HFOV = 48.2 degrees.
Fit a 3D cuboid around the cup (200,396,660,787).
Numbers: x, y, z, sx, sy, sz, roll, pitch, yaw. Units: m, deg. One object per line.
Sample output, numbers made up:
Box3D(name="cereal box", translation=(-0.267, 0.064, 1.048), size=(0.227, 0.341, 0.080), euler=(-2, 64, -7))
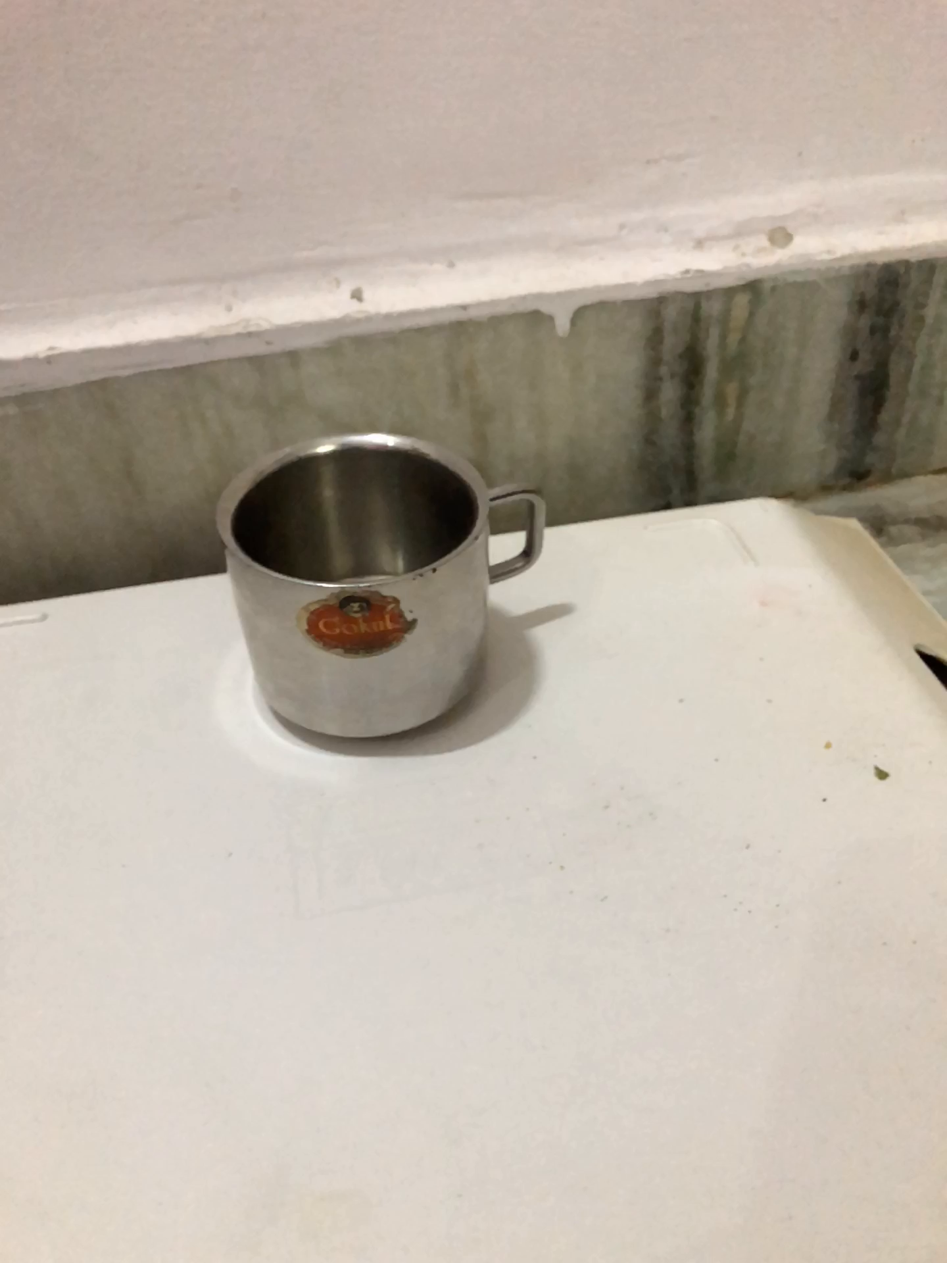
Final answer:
Box3D(name="cup", translation=(-0.014, -0.016, 0.294), size=(0.100, 0.050, 0.080), euler=(-15, 42, -16))
